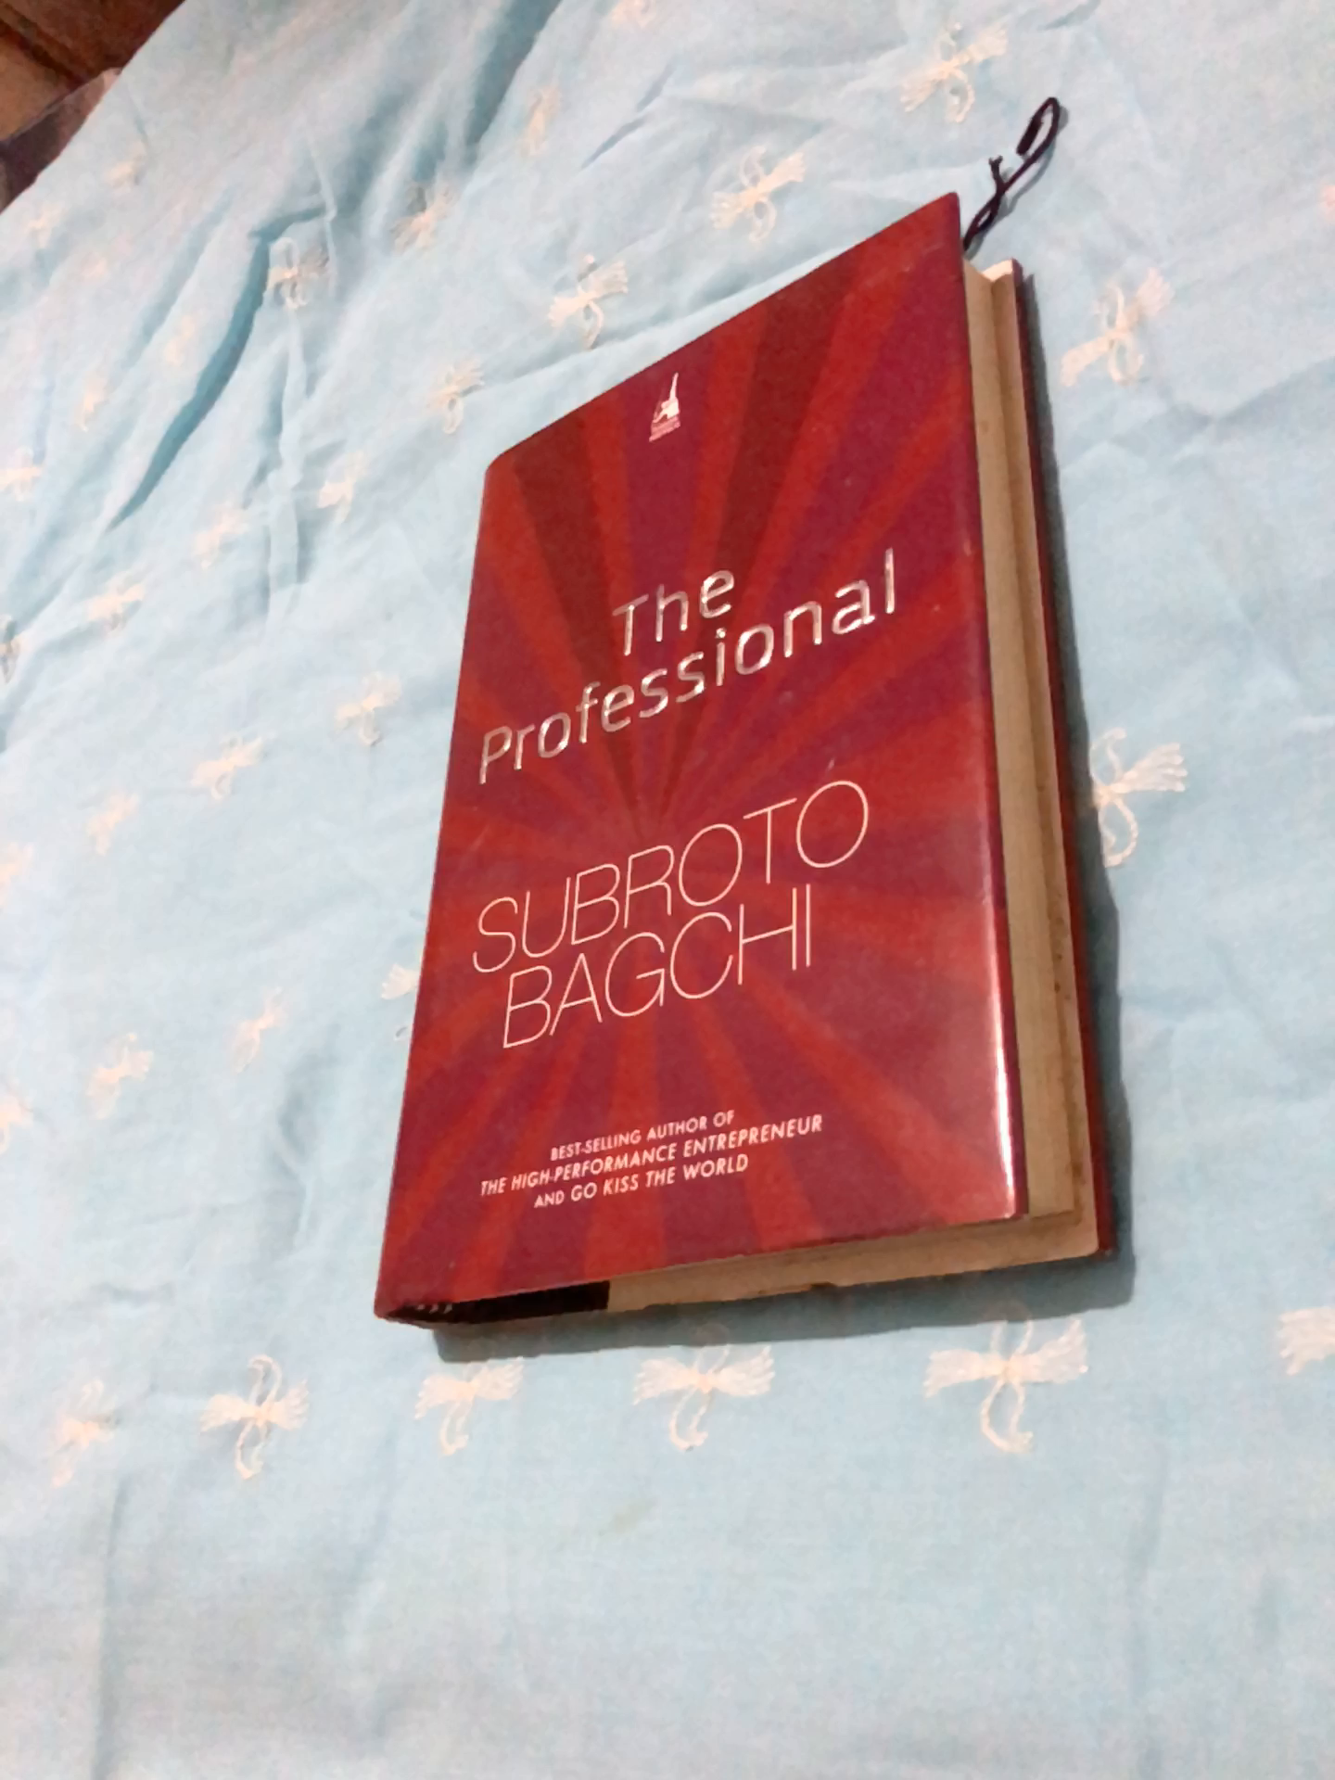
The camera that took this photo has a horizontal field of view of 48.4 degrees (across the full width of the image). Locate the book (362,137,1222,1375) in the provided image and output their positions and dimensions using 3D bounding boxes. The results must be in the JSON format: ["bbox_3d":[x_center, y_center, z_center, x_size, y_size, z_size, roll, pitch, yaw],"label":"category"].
[{"bbox_3d":[0.016,-0.024,0.294,0.151,0.030,0.220,-17,58,35],"label":"book"}]
